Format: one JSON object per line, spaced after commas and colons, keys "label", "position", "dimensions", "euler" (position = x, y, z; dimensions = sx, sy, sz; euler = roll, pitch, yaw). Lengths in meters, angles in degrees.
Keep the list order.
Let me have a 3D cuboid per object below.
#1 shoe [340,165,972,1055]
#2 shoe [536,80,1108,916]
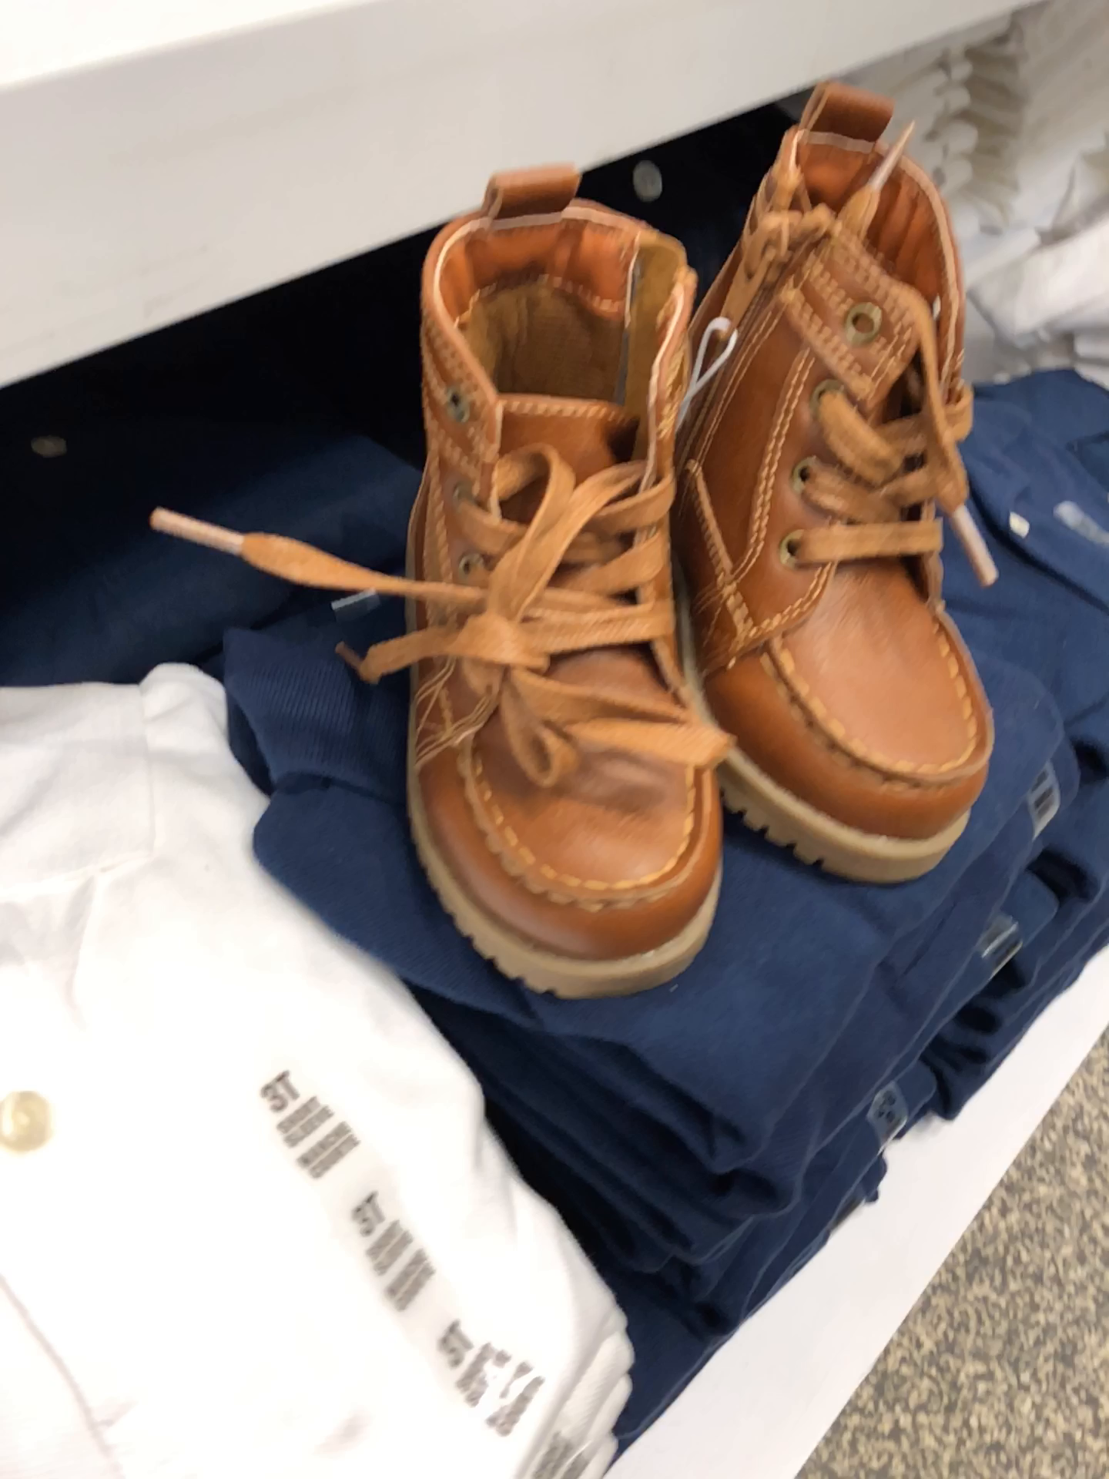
{"label": "shoe", "position": [0.005, -0.031, 0.257], "dimensions": [0.080, 0.101, 0.151], "euler": [-6, 54, -9]}
{"label": "shoe", "position": [0.068, -0.060, 0.286], "dimensions": [0.080, 0.101, 0.161], "euler": [-7, 54, -22]}
